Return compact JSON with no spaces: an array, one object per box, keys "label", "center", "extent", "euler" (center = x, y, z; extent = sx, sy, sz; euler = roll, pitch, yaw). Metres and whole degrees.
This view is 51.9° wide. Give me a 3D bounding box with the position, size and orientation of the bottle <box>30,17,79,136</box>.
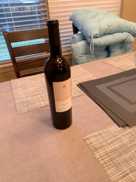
[{"label":"bottle","center":[-0.028,-0.029,0.415],"extent":[0.083,0.328,0.090],"euler":[-3,31,2]}]
